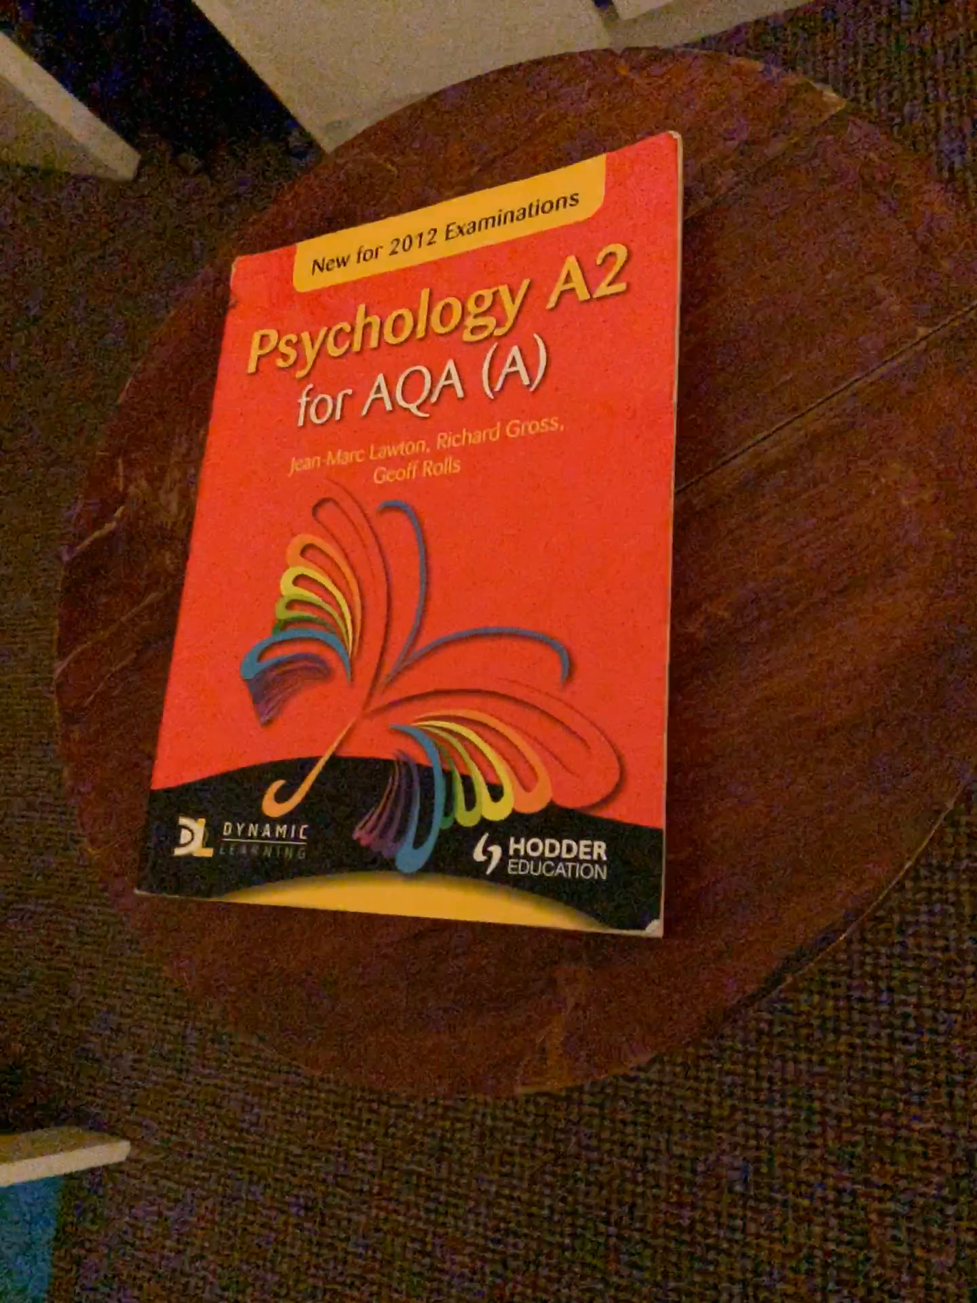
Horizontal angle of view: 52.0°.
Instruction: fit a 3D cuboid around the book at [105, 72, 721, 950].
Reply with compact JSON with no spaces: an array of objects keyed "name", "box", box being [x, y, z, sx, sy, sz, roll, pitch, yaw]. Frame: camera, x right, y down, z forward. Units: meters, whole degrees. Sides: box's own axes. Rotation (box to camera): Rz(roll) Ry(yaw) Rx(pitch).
[{"name":"book","box":[-0.026,-0.050,0.373,0.211,0.040,0.291,-3,73,28]}]
